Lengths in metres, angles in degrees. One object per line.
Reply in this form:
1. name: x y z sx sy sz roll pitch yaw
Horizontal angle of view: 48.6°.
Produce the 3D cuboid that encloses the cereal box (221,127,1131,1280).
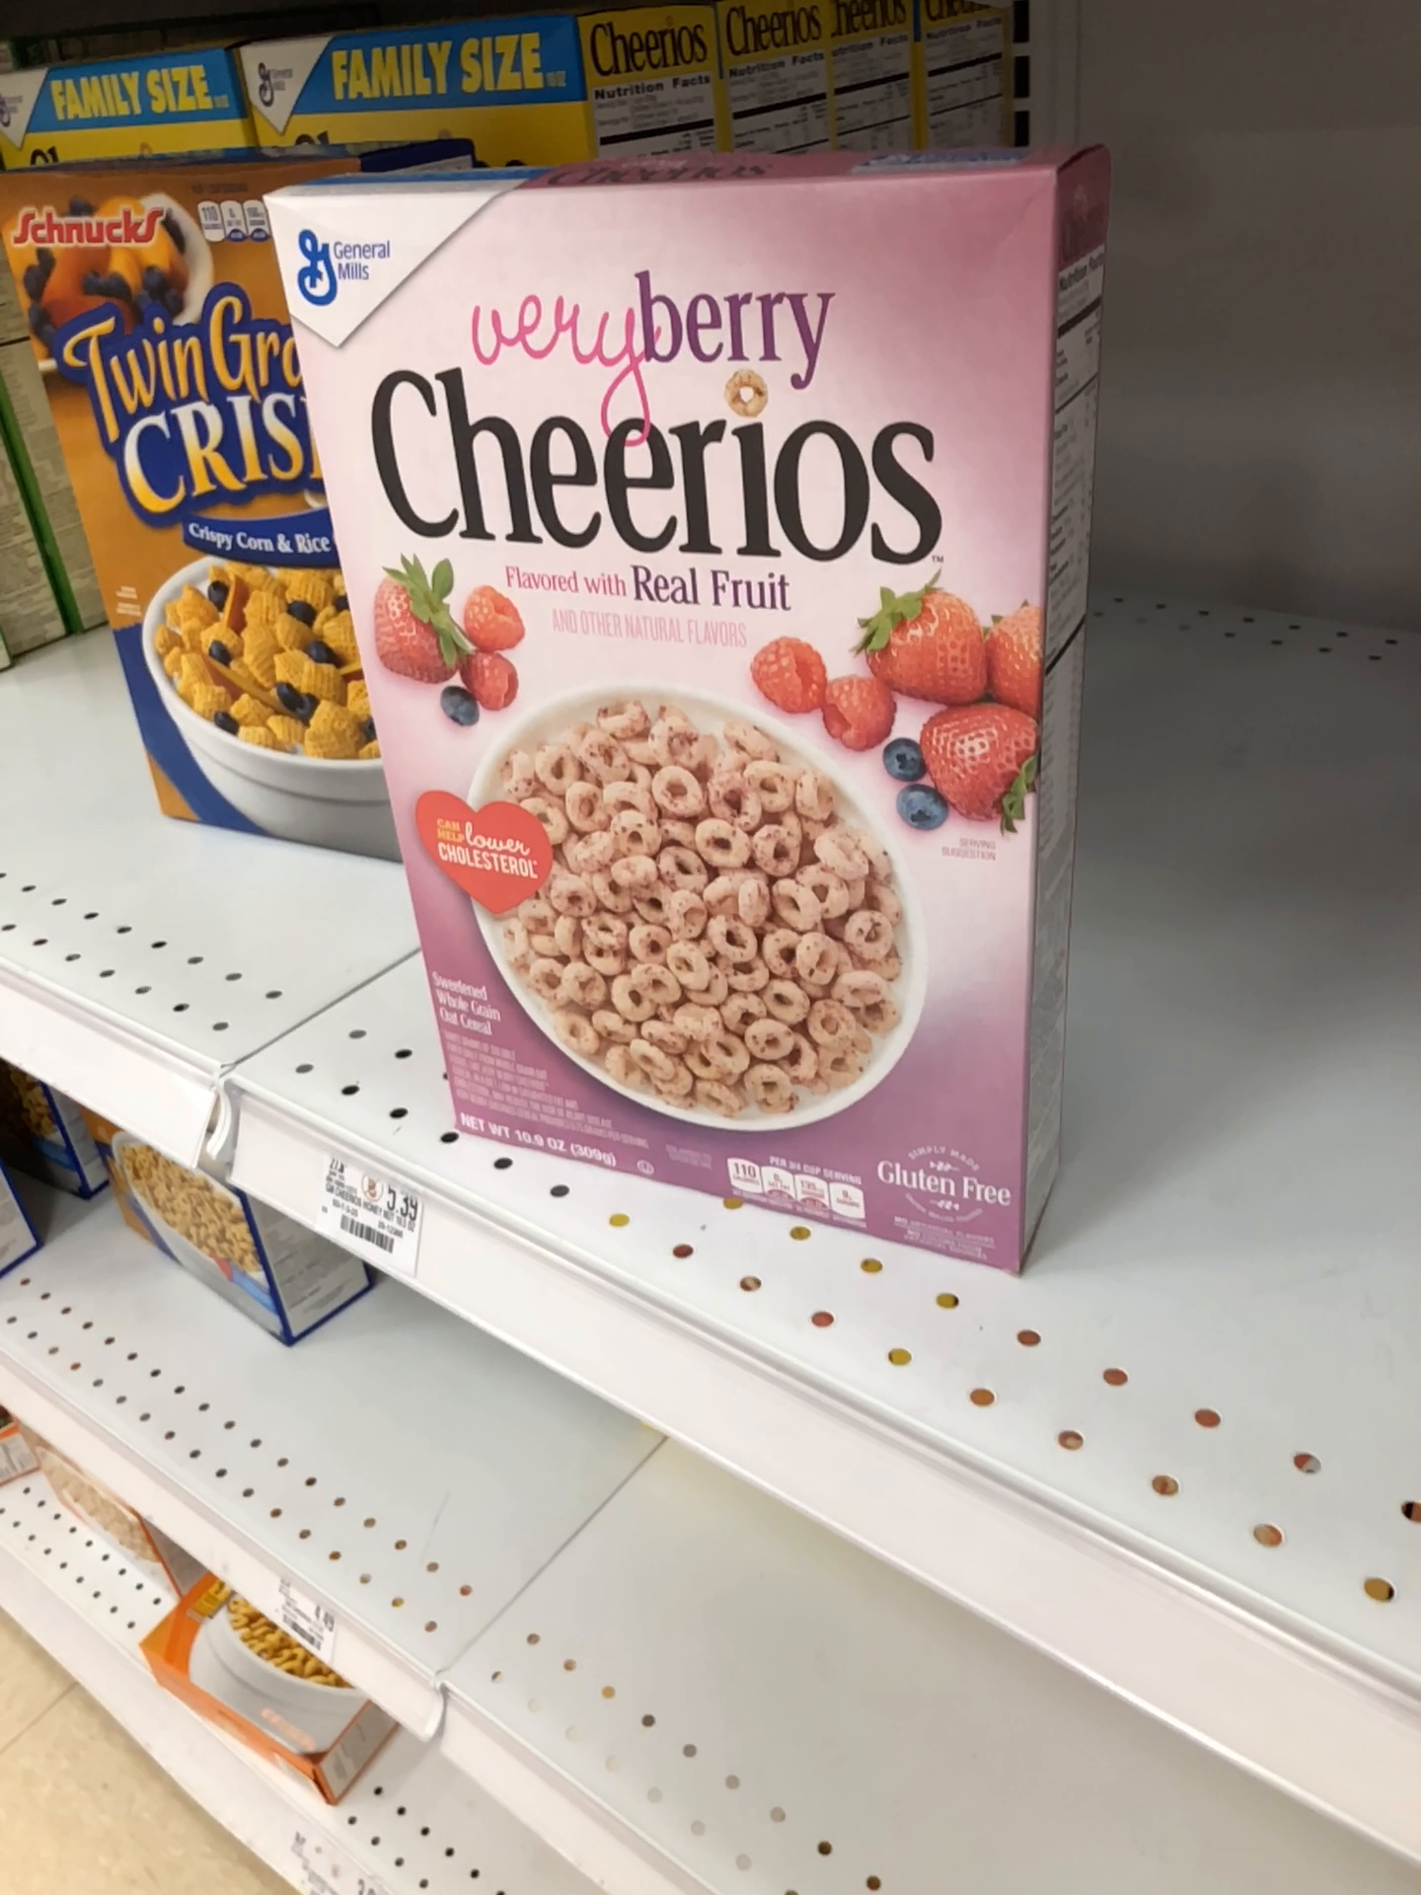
1. cereal box: 0.000 -0.058 0.428 0.200 0.279 0.060 11 36 25
